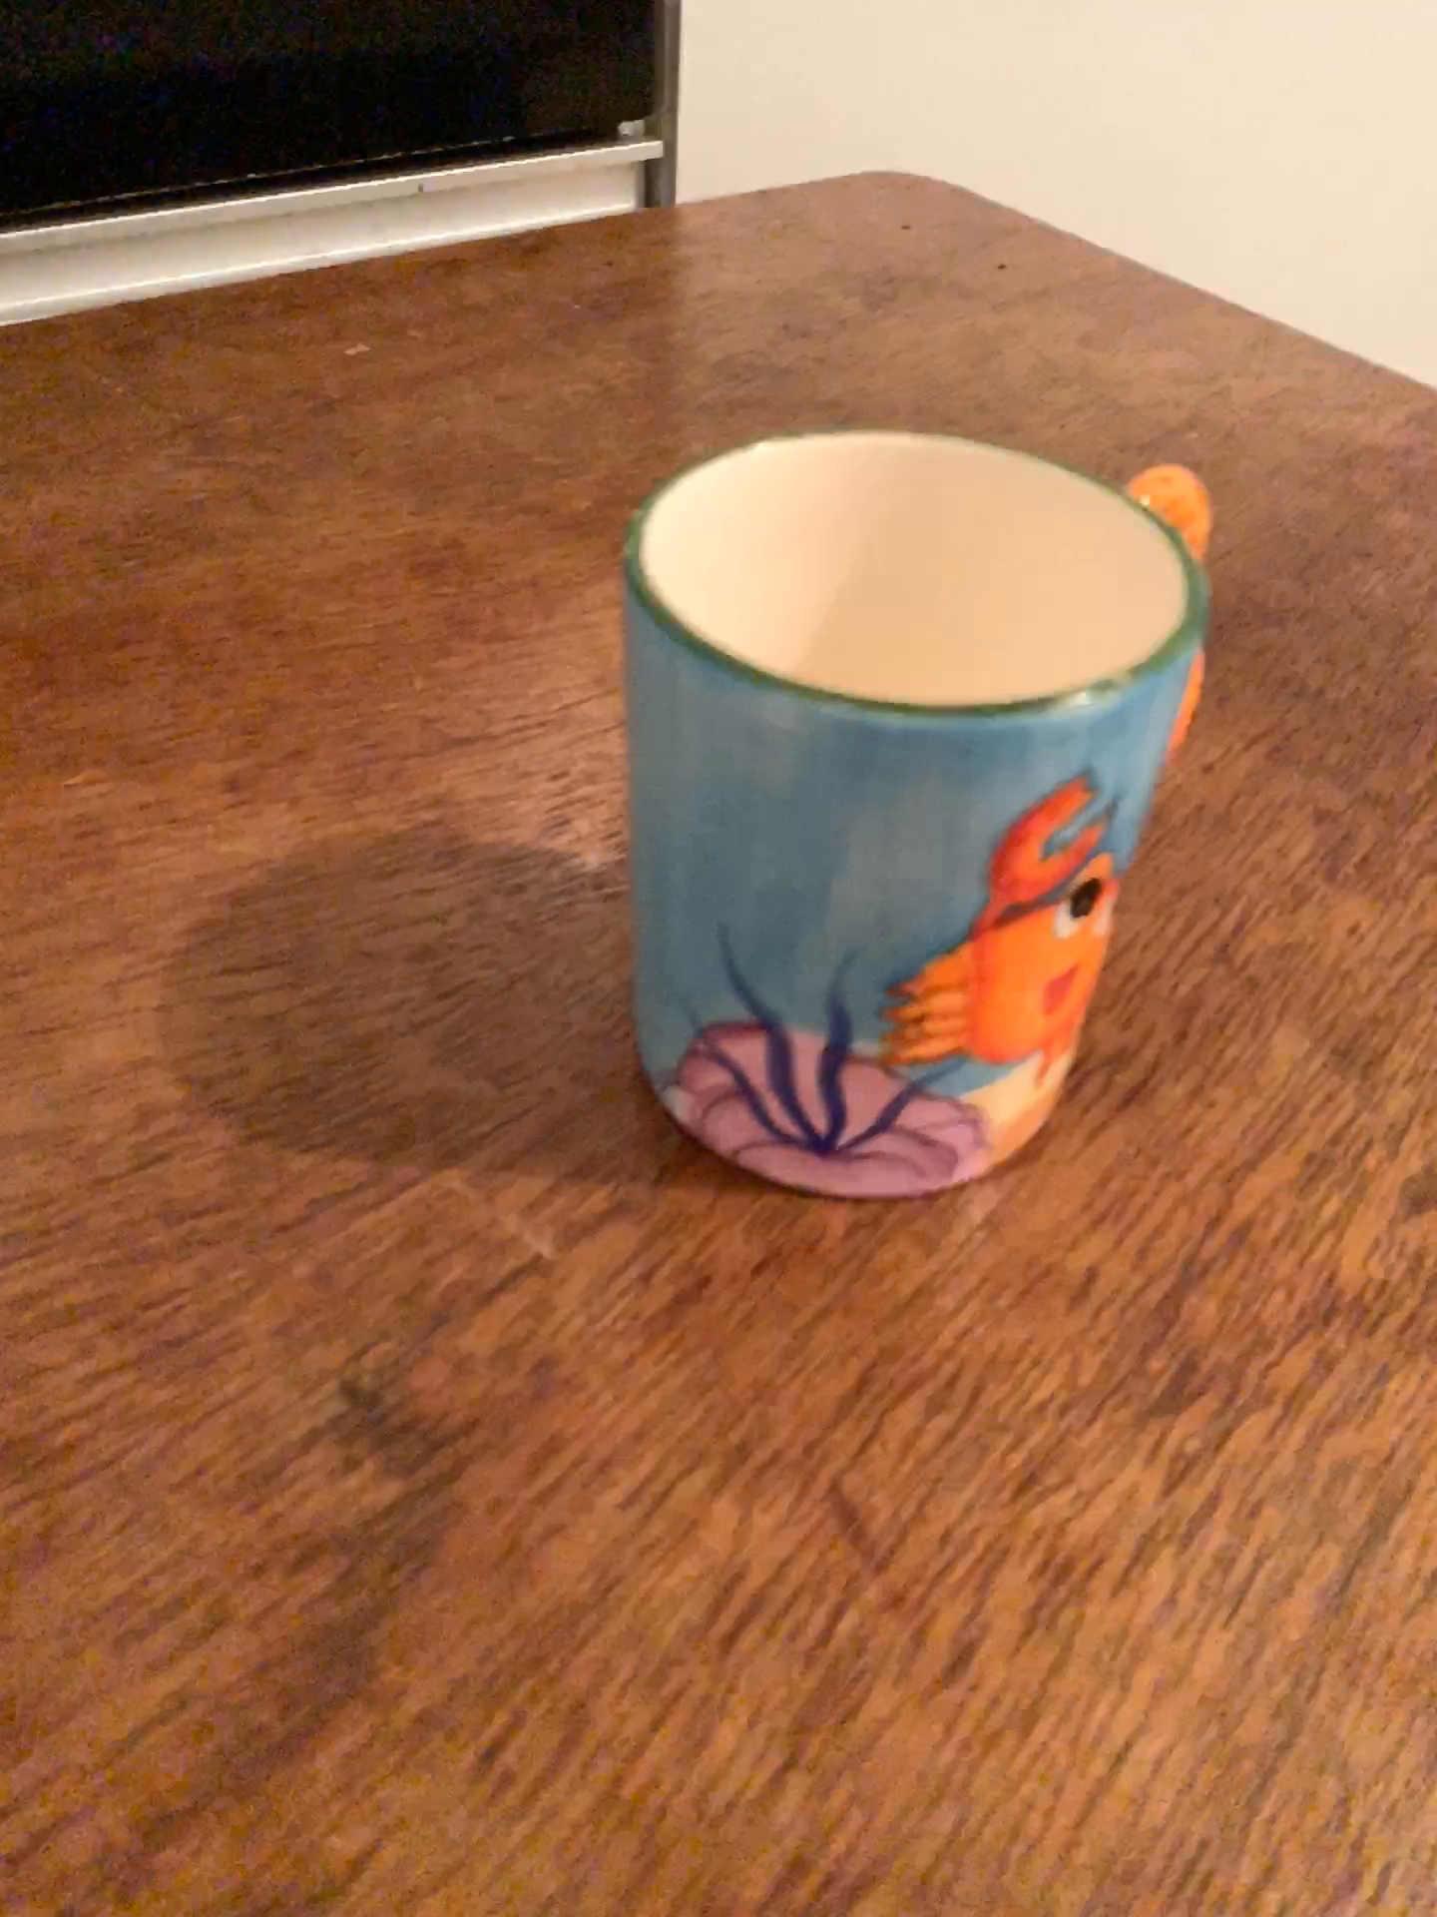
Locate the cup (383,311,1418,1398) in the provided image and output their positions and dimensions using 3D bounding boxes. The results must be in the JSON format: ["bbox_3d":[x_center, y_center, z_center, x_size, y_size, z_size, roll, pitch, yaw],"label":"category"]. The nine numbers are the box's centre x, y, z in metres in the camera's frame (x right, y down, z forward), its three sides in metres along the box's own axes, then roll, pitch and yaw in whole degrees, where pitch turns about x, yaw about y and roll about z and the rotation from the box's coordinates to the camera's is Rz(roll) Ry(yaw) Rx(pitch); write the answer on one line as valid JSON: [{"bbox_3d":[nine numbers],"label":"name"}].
[{"bbox_3d":[0.030,-0.024,0.235,0.080,0.099,0.130,32,51,27],"label":"cup"}]
